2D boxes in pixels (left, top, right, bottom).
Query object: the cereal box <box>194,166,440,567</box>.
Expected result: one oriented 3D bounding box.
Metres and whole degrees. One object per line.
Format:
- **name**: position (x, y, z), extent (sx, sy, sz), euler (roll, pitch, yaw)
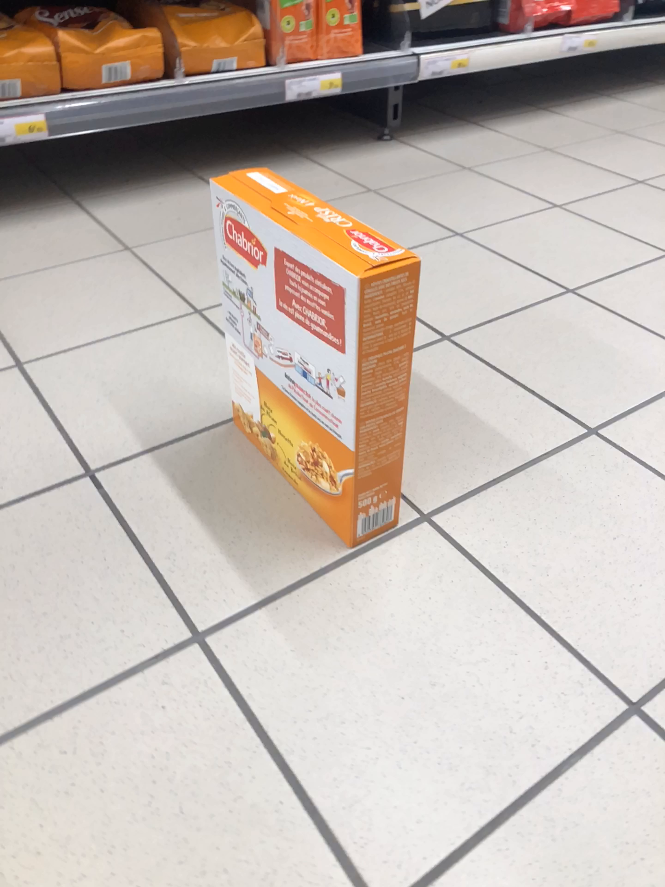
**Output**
- **cereal box**: position (-0.021, -0.060, 0.538), extent (0.060, 0.219, 0.200), euler (-22, 44, -26)
